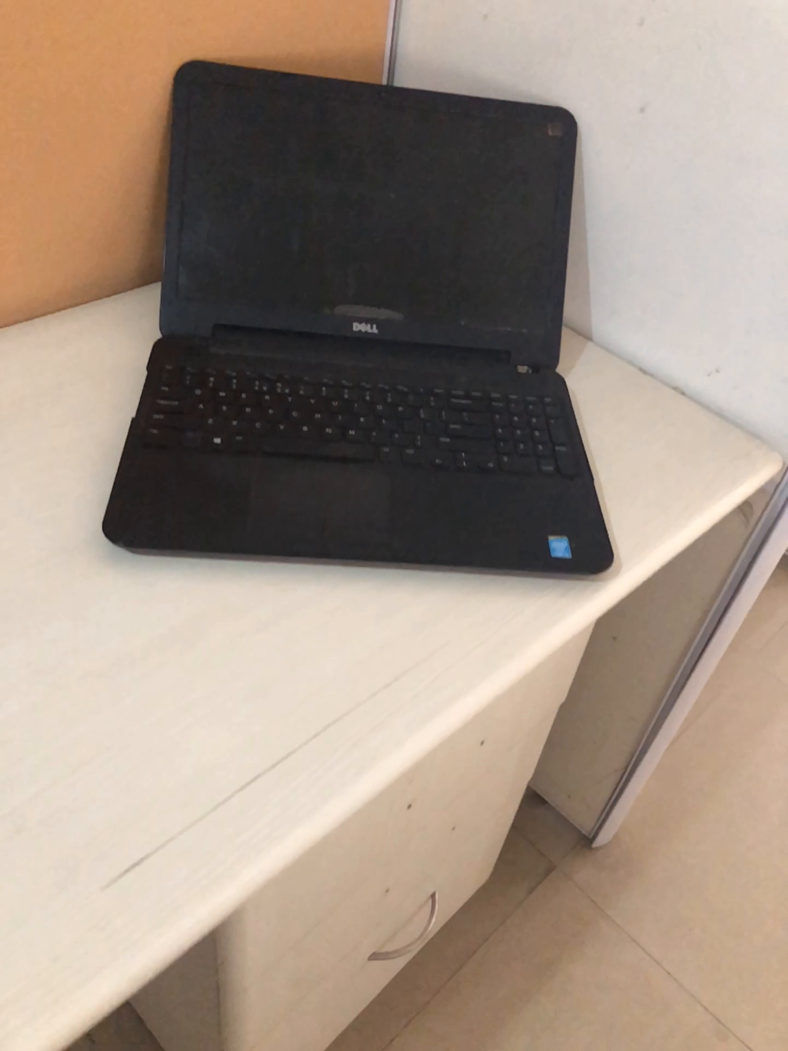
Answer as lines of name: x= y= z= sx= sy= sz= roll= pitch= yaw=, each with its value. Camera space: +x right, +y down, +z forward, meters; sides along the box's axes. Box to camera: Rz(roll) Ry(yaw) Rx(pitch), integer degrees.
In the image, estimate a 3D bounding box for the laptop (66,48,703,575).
laptop: x=-0.016 y=-0.190 z=0.681 sx=0.352 sy=0.174 sz=0.416 roll=4 pitch=44 yaw=-6
